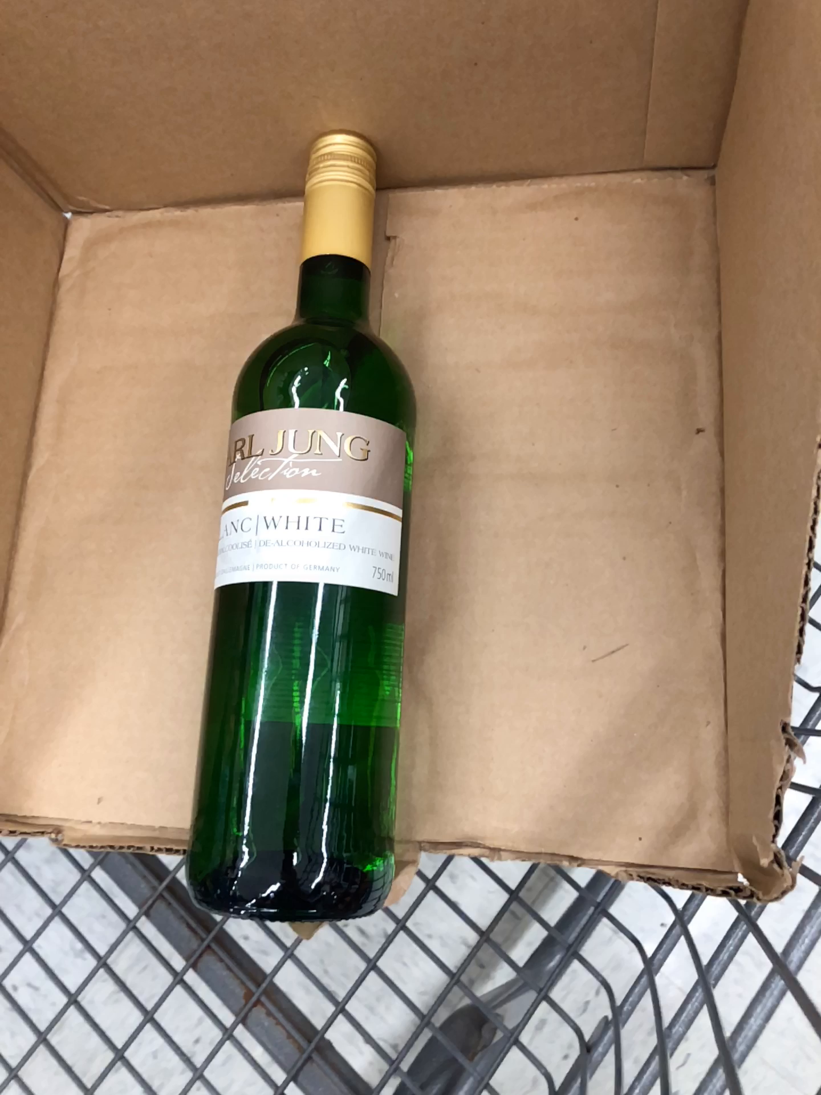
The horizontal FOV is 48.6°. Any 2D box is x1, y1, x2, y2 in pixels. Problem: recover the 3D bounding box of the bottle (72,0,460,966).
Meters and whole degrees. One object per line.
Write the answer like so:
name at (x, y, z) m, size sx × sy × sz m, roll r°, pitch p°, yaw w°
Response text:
bottle at (-0.040, -0.037, 0.340) m, size 0.080 × 0.100 × 0.331 m, roll -2°, pitch 77°, yaw 21°
